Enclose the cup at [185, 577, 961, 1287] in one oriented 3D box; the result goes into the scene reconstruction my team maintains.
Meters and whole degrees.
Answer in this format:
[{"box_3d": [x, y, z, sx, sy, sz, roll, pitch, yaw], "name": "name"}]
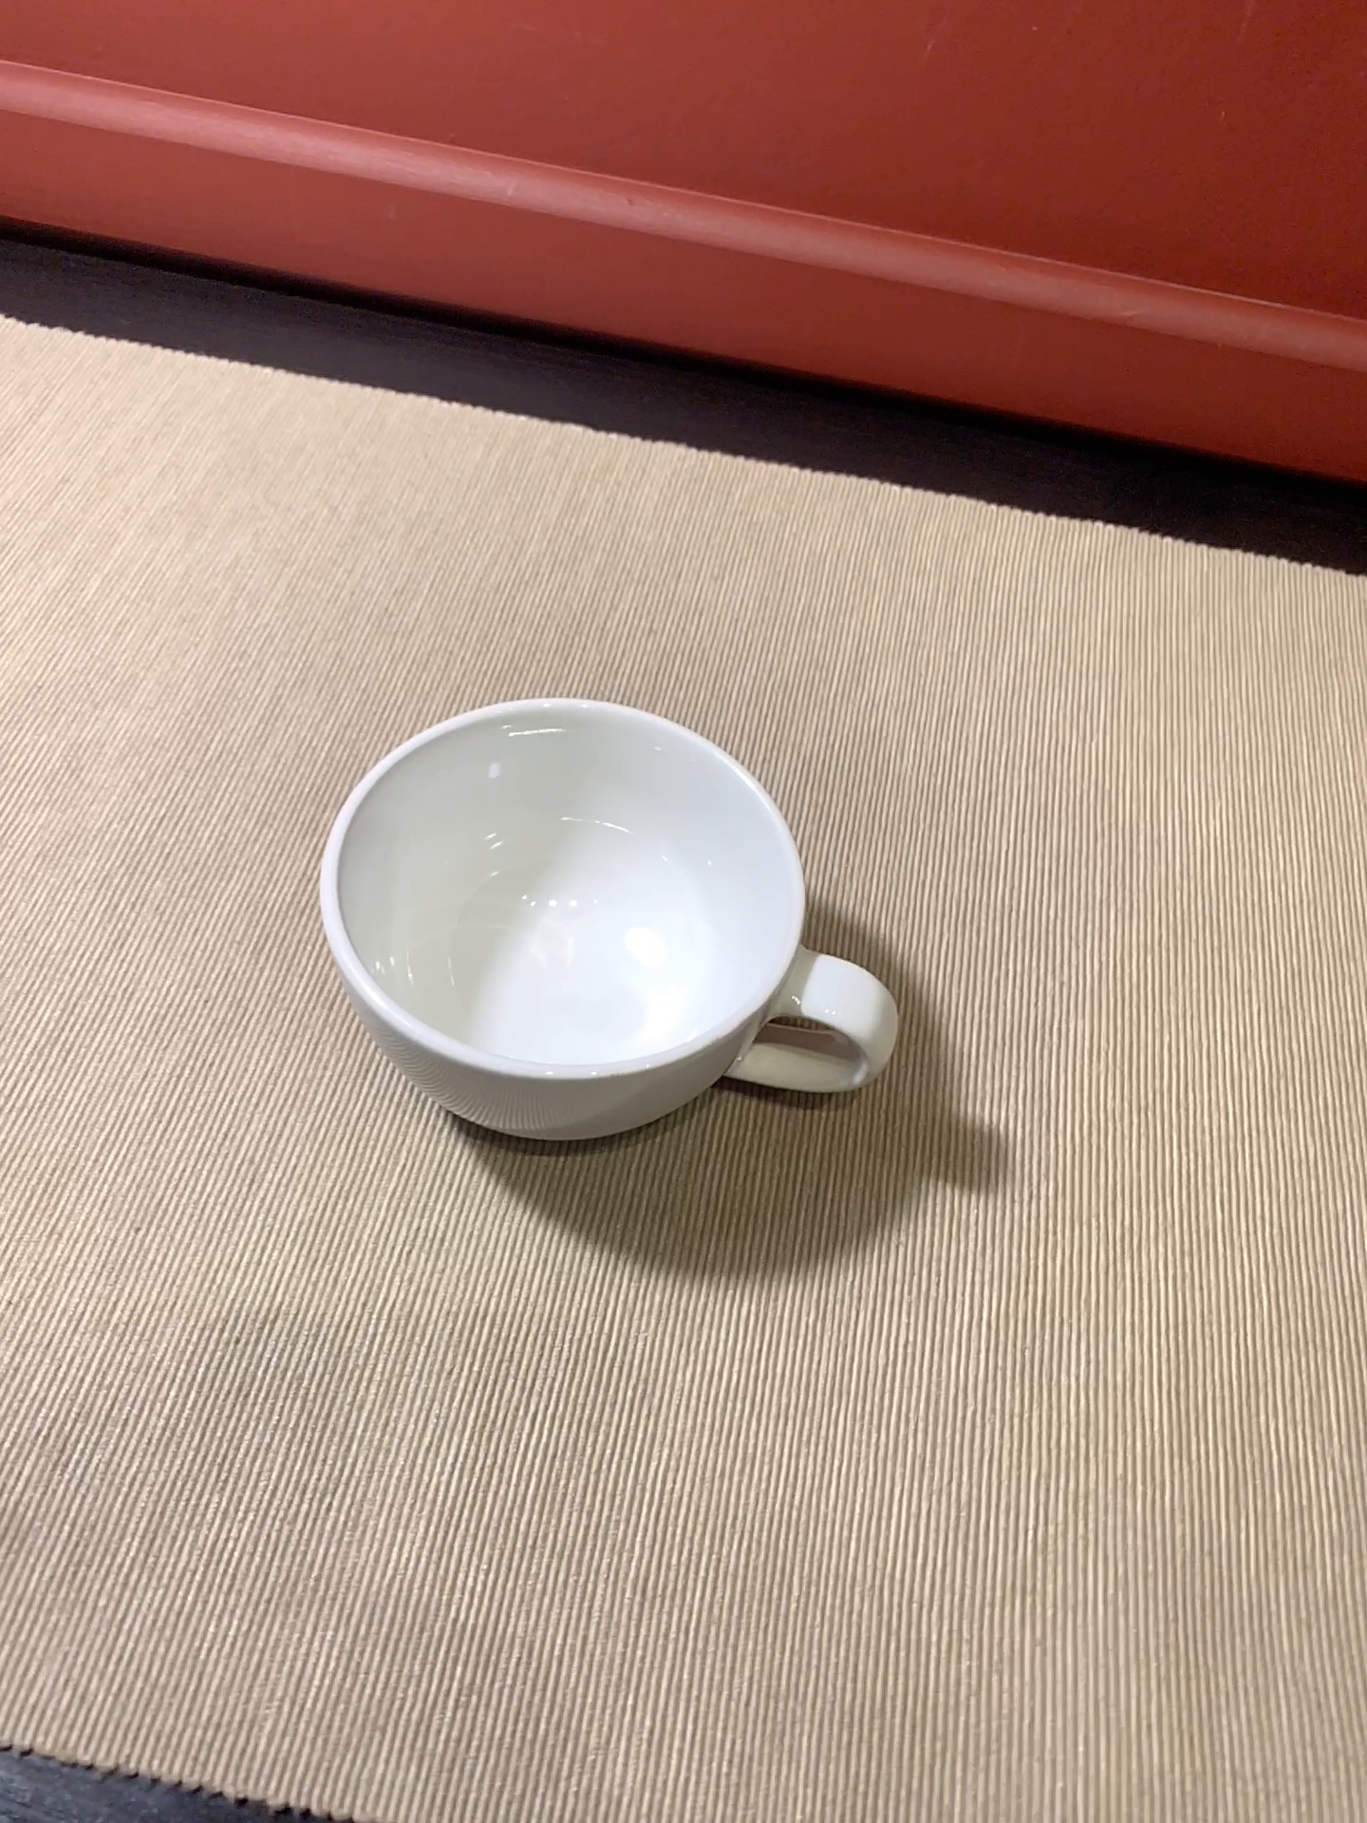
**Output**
[{"box_3d": [-0.016, 0.001, 0.271, 0.110, 0.060, 0.090, 18, 52, 8], "name": "cup"}]
